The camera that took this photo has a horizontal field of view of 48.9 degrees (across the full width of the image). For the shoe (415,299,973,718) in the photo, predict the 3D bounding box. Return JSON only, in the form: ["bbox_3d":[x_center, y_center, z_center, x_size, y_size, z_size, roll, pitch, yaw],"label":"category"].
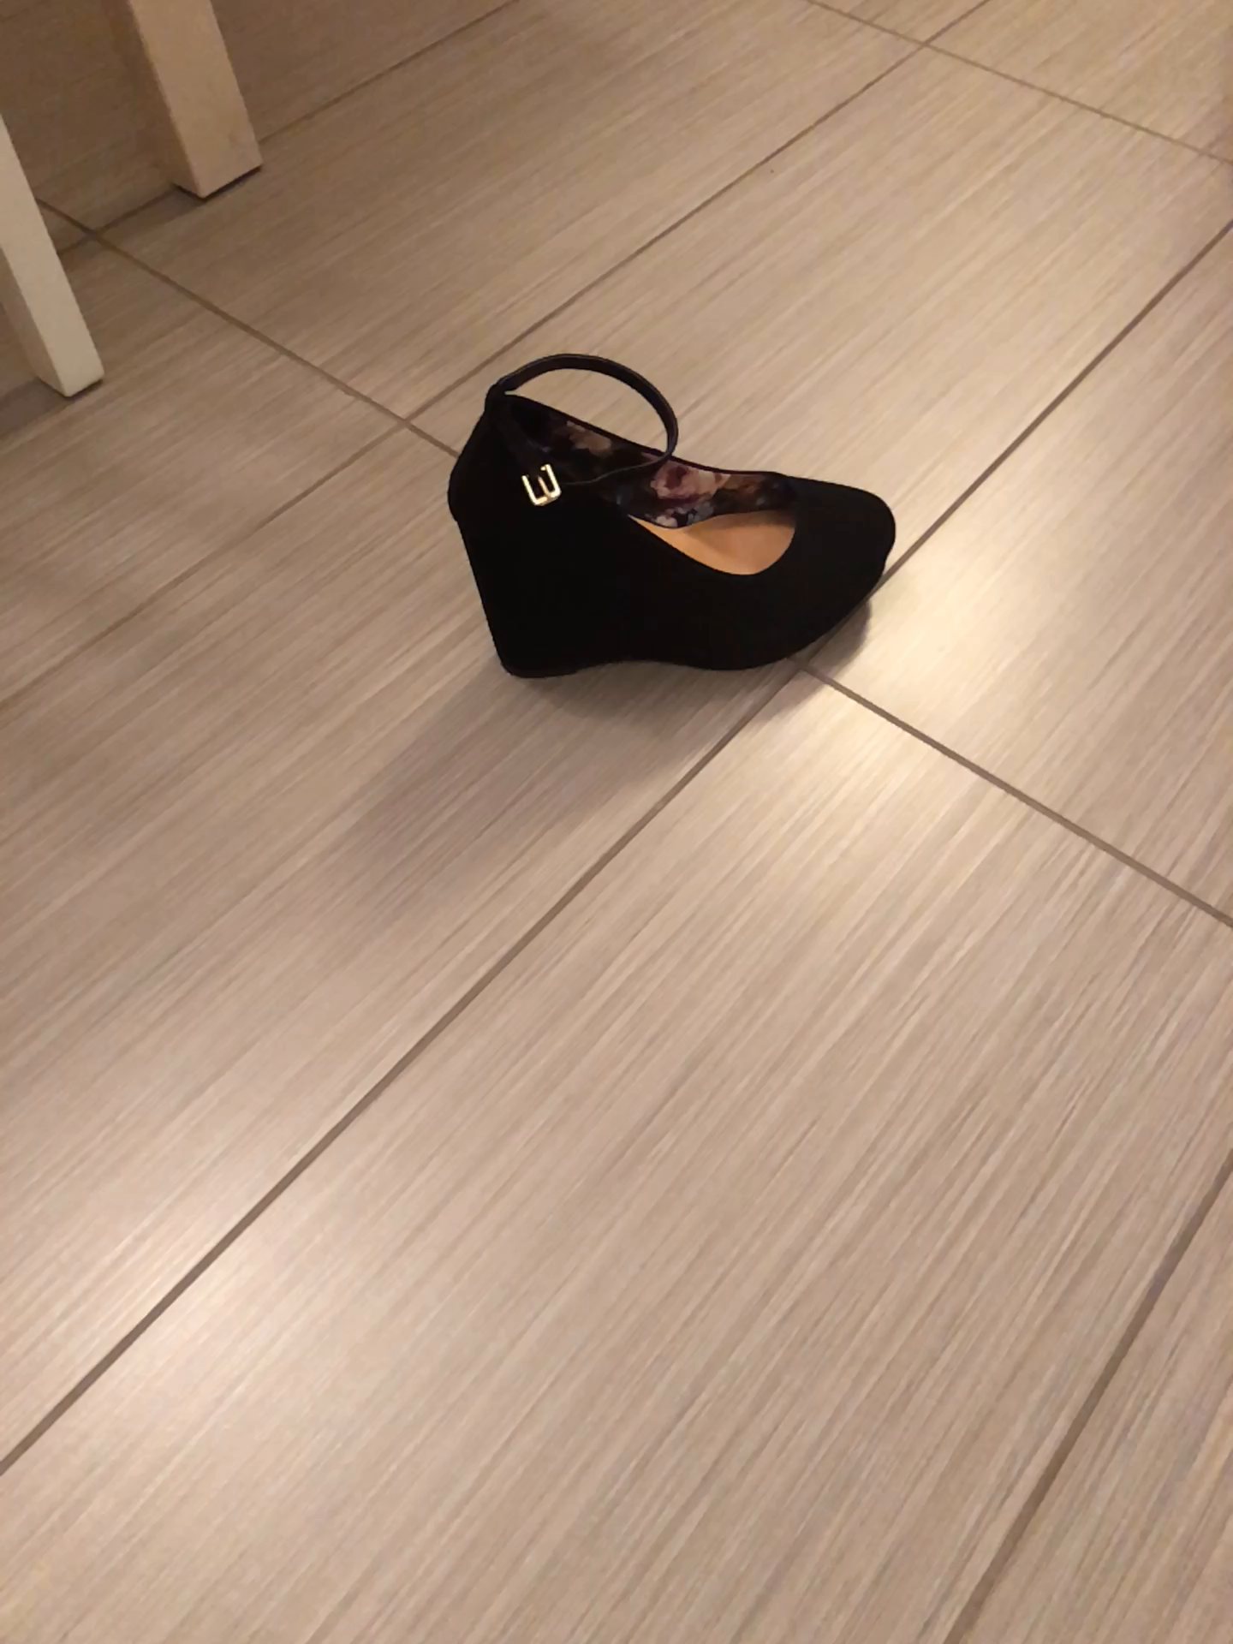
[{"bbox_3d":[0.033,-0.156,0.684,0.240,0.139,0.100,-11,56,-8],"label":"shoe"}]
